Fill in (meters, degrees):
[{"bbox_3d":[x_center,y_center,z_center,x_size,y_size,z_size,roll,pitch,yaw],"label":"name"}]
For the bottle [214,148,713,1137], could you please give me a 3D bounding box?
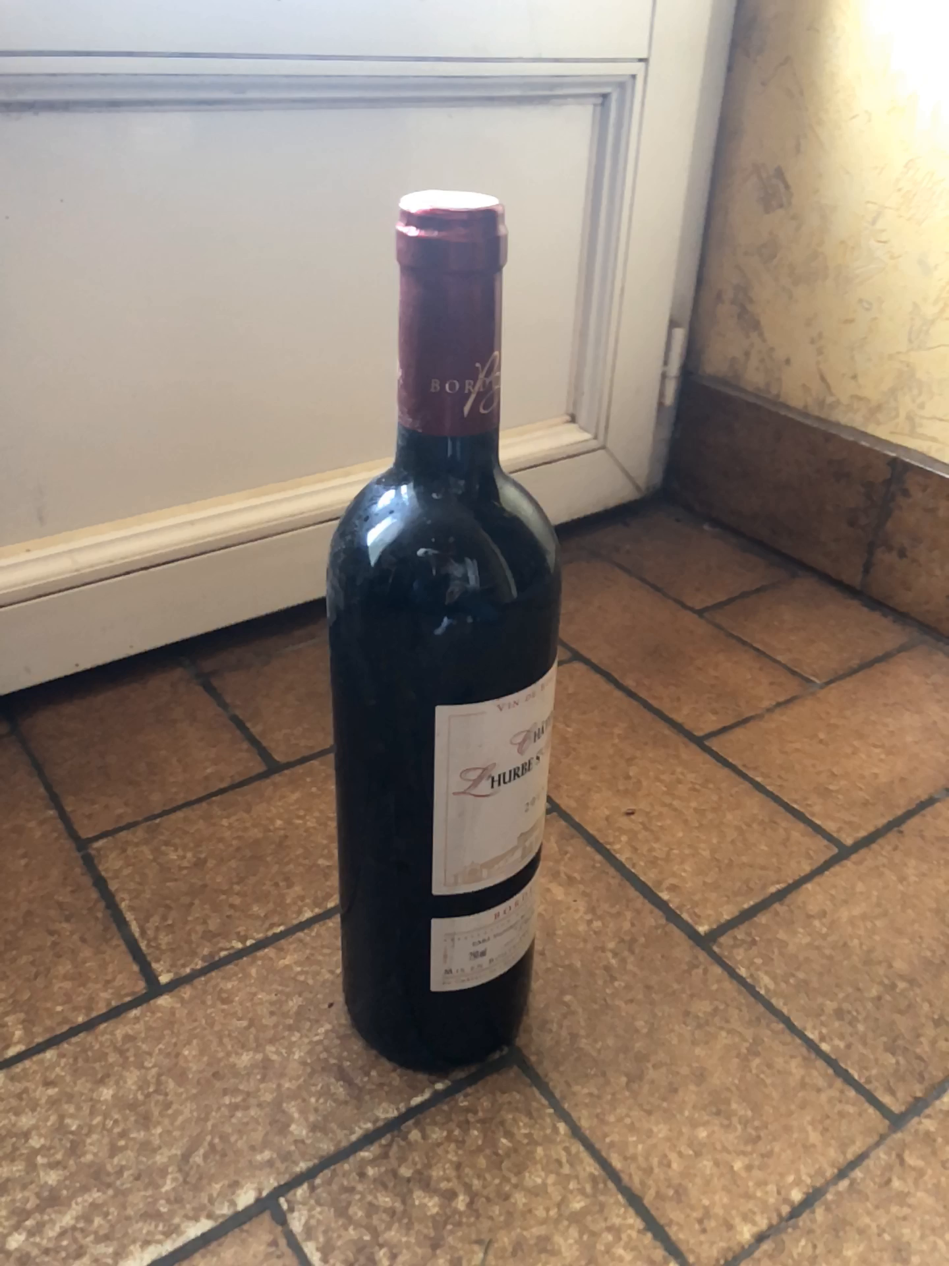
[{"bbox_3d":[-0.004,0.013,0.330,0.090,0.288,0.091,2,31,-1],"label":"bottle"}]
